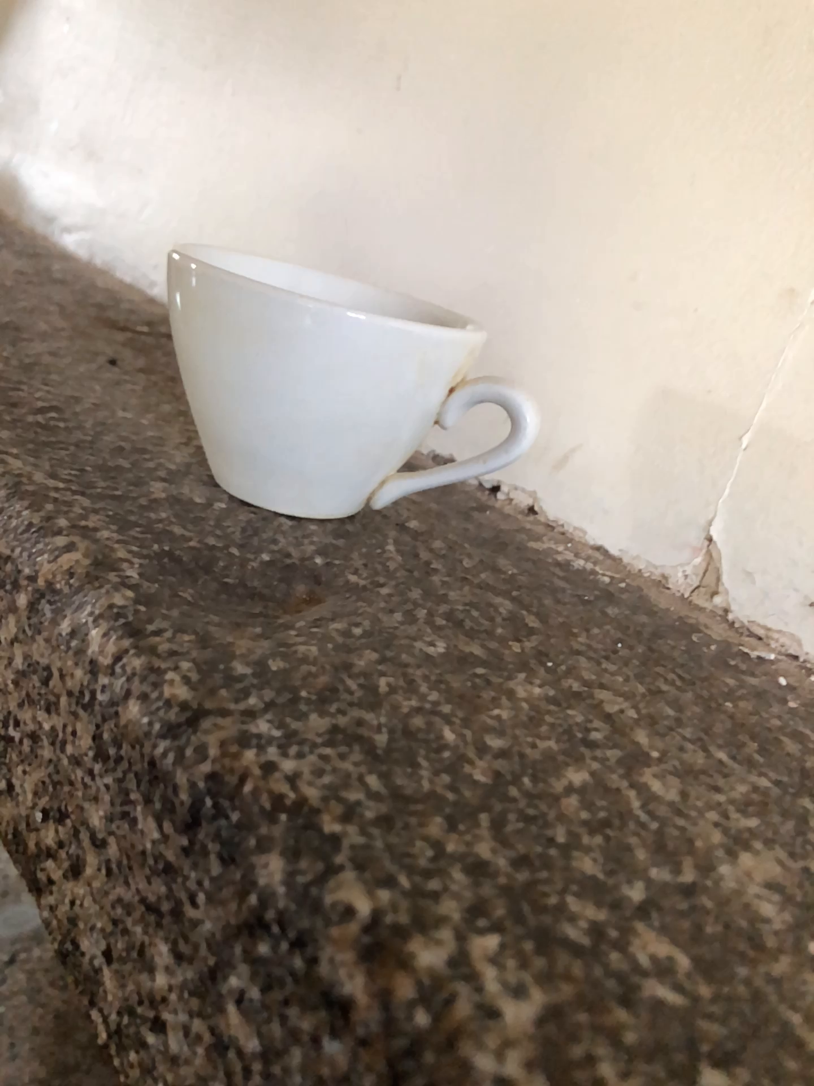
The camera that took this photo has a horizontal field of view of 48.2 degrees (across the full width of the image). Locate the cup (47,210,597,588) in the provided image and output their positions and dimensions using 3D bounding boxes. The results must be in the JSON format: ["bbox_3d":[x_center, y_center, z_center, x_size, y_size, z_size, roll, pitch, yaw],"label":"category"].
[{"bbox_3d":[-0.017,-0.040,0.222,0.100,0.050,0.080,21,19,17],"label":"cup"}]
